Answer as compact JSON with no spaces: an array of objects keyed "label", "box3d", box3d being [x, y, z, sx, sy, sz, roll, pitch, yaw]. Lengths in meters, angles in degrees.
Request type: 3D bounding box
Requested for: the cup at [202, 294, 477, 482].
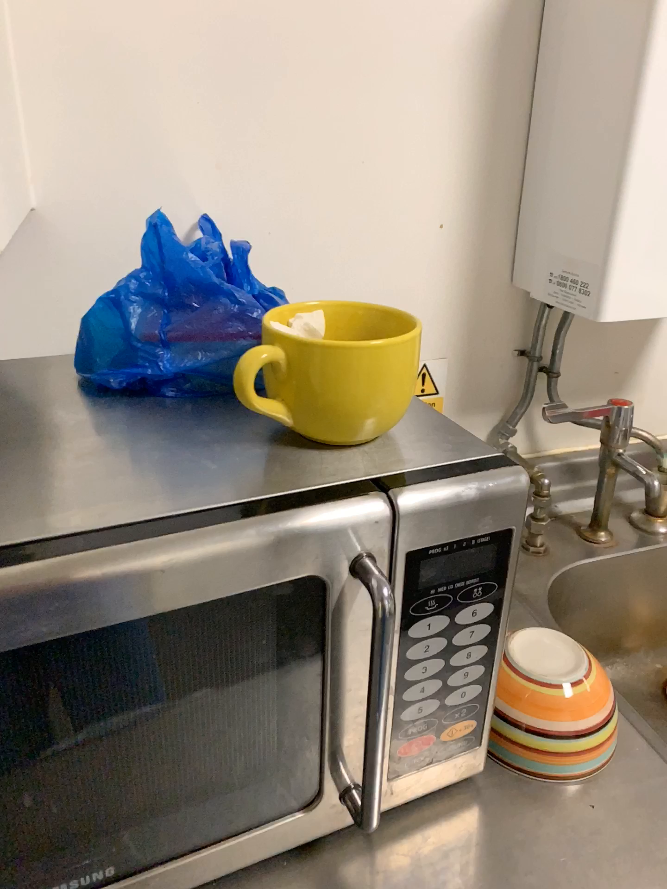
[{"label":"cup","box3d":[0.000,-0.049,0.485,0.154,0.082,0.116,-10,26,-23]}]
